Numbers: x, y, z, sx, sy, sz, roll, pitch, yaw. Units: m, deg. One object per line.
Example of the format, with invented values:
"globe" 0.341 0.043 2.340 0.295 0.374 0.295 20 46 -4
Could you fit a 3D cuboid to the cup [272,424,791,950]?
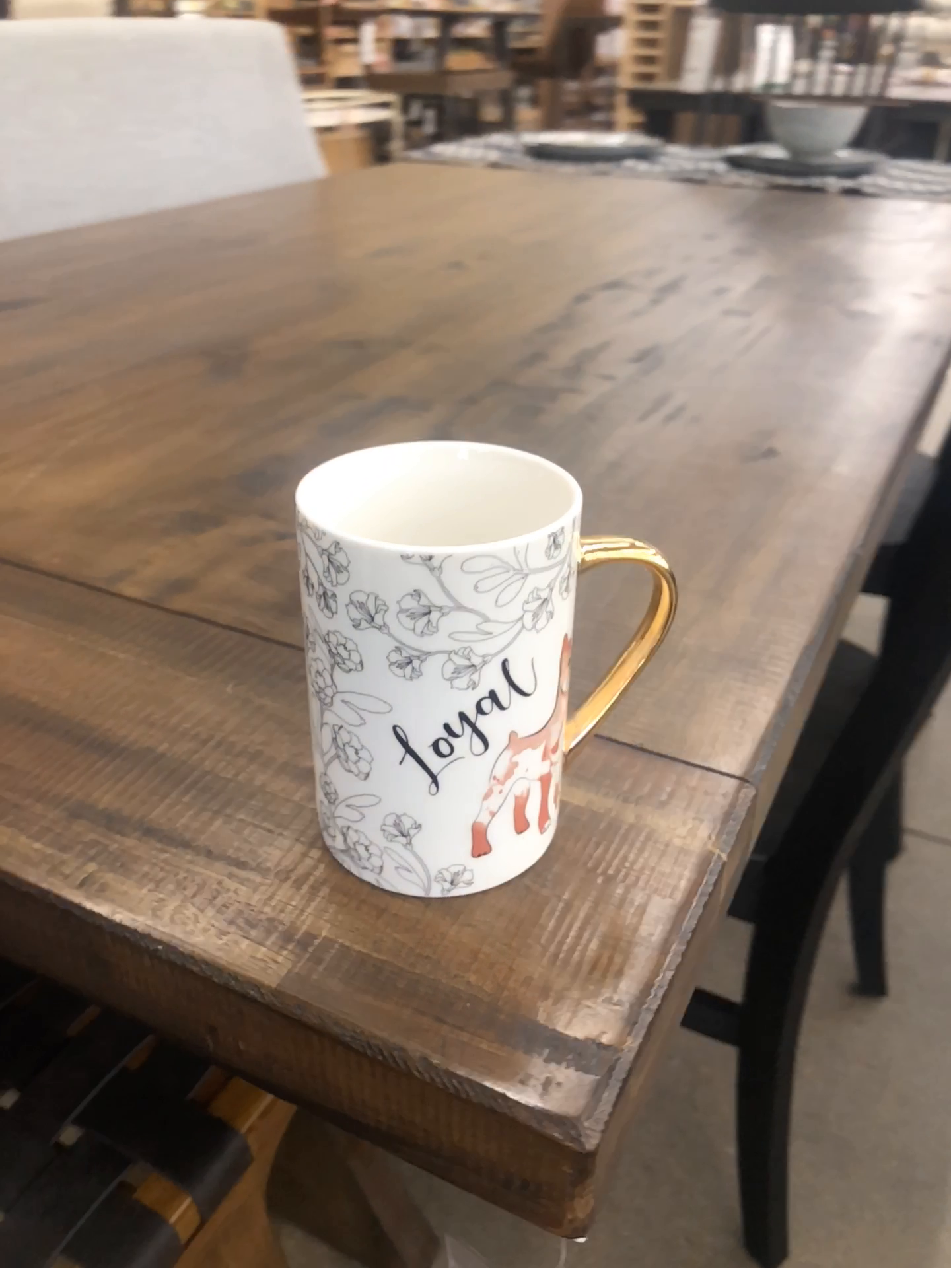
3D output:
"cup" 0.009 0.011 0.311 0.119 0.115 0.098 -2 29 -5
